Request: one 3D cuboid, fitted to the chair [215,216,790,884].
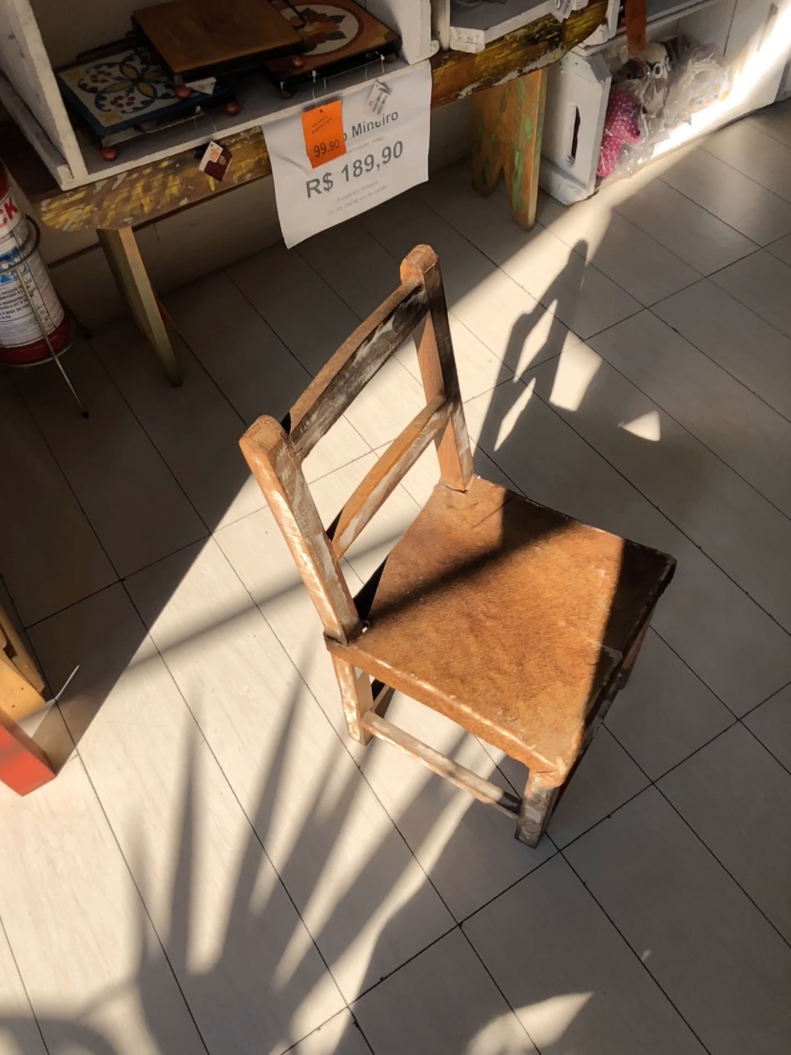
[{"bbox_3d":[0.103,0.065,0.902,0.341,0.597,0.301,25,59,20],"label":"chair"}]
